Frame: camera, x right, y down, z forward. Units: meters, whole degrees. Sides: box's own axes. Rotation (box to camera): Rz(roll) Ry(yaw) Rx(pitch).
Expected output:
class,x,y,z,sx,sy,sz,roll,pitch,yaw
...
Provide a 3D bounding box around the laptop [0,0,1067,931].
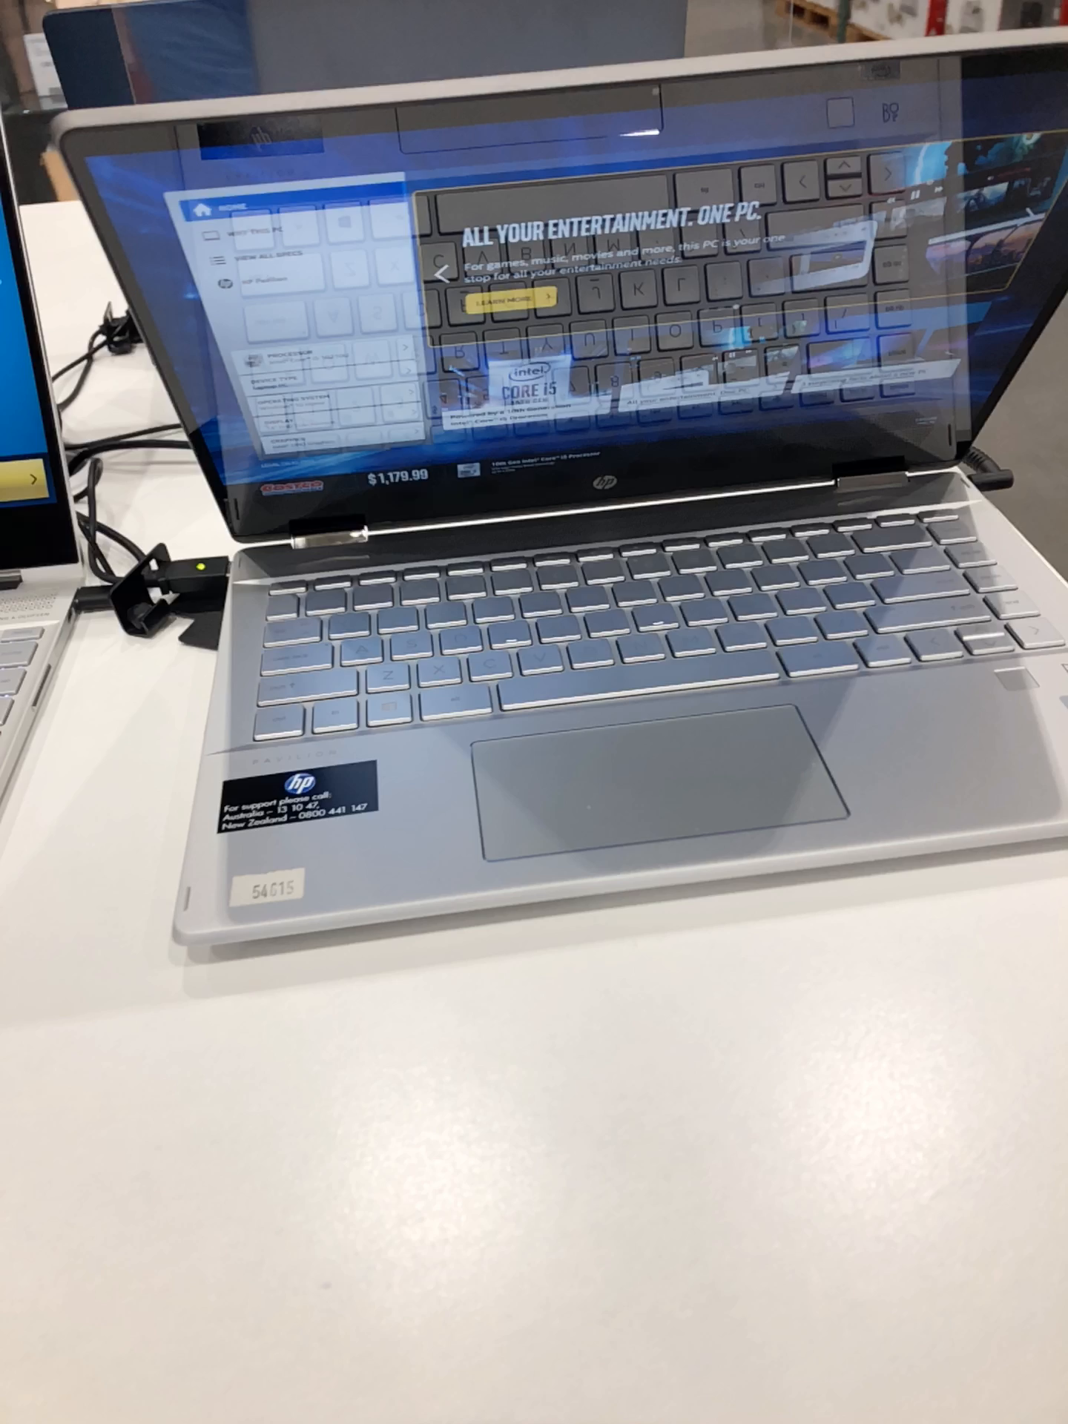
class,x,y,z,sx,sy,sz,roll,pitch,yaw
laptop,0.035,-0.093,0.365,0.317,0.185,0.207,-7,38,-3
